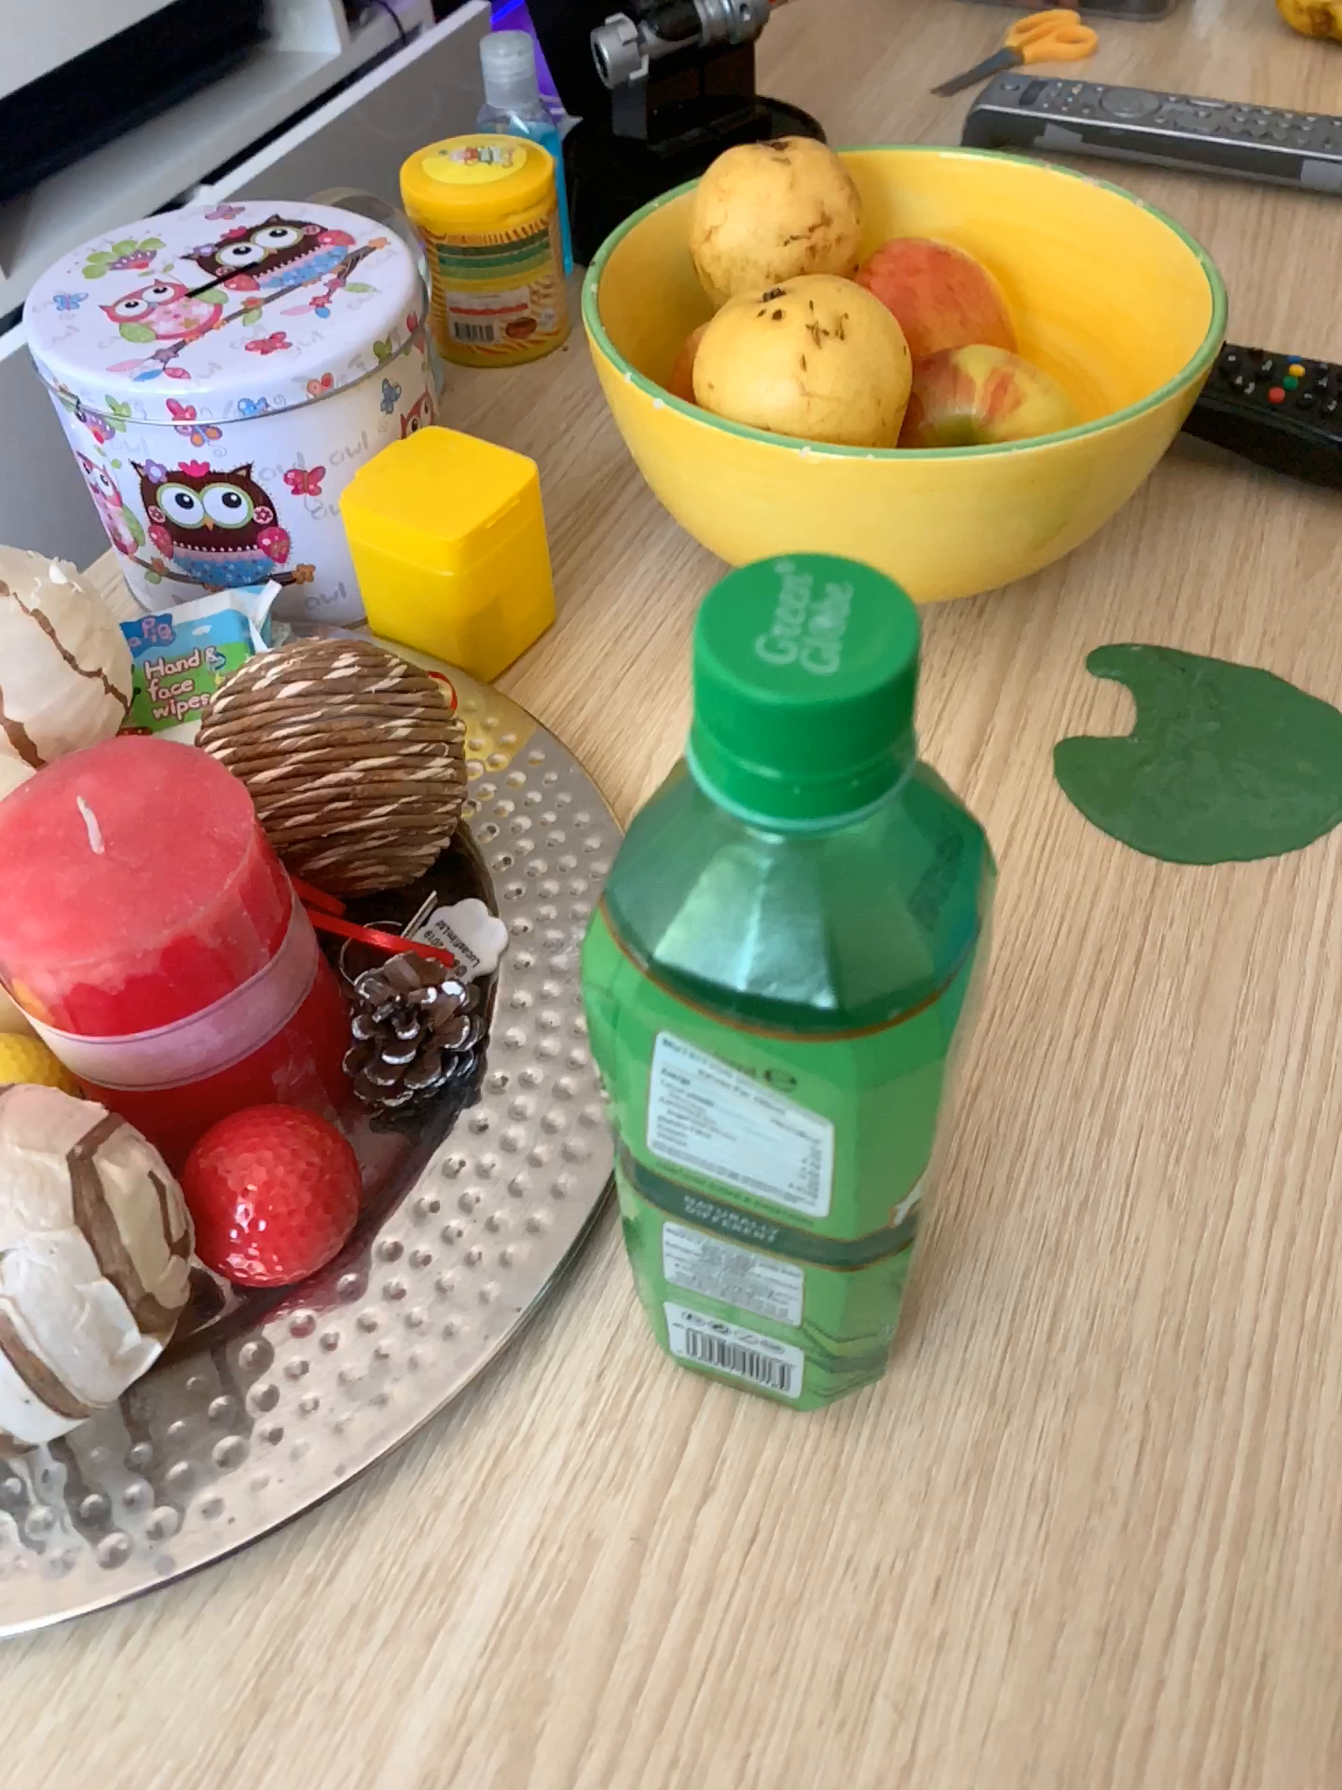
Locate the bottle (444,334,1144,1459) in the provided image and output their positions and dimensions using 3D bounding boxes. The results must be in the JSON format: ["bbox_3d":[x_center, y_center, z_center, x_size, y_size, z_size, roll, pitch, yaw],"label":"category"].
[{"bbox_3d":[0.023,0.022,0.255,0.070,0.218,0.071,-2,50,2],"label":"bottle"}]
